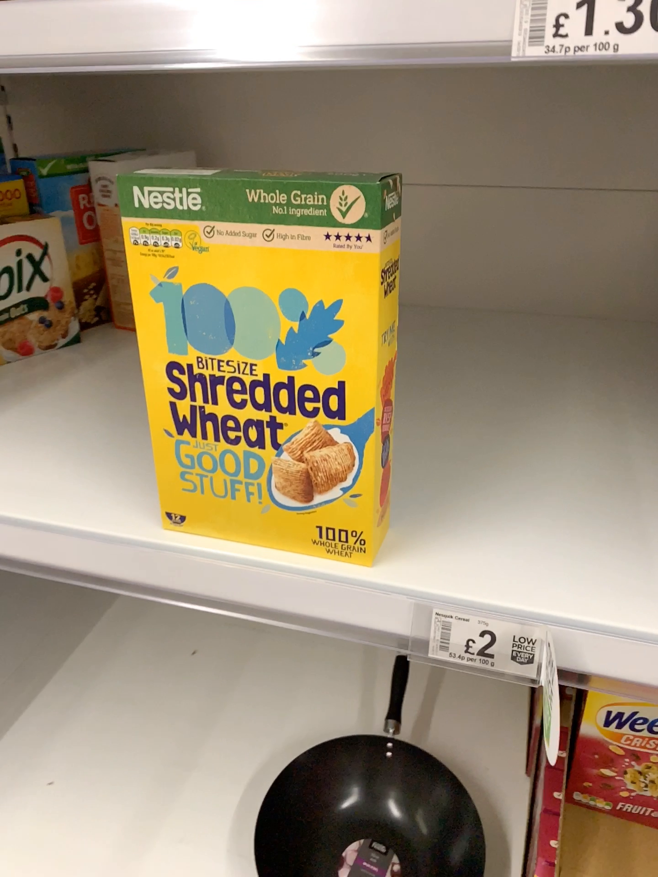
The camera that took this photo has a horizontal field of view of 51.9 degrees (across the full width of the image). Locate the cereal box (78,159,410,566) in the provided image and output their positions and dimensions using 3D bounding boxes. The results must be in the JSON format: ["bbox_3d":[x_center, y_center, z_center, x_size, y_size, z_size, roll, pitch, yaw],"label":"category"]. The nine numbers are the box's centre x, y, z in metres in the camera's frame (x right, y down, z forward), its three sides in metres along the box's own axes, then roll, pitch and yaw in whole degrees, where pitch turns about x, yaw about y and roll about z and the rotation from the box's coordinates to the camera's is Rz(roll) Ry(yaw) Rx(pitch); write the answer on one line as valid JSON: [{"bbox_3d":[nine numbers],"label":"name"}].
[{"bbox_3d":[-0.056,-0.058,0.512,0.210,0.278,0.071,8,26,16],"label":"cereal box"}]
